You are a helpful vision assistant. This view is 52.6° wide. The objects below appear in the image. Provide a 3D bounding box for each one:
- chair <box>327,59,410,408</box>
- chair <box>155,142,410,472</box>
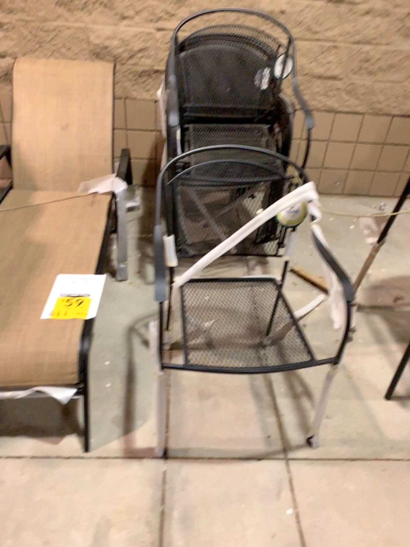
[{"bbox_3d":[1.019,-0.140,1.617,0.634,1.128,0.712,1,34,-5],"label":"chair"},{"bbox_3d":[0.129,0.095,1.404,0.574,0.870,0.641,-1,34,-8],"label":"chair"}]
